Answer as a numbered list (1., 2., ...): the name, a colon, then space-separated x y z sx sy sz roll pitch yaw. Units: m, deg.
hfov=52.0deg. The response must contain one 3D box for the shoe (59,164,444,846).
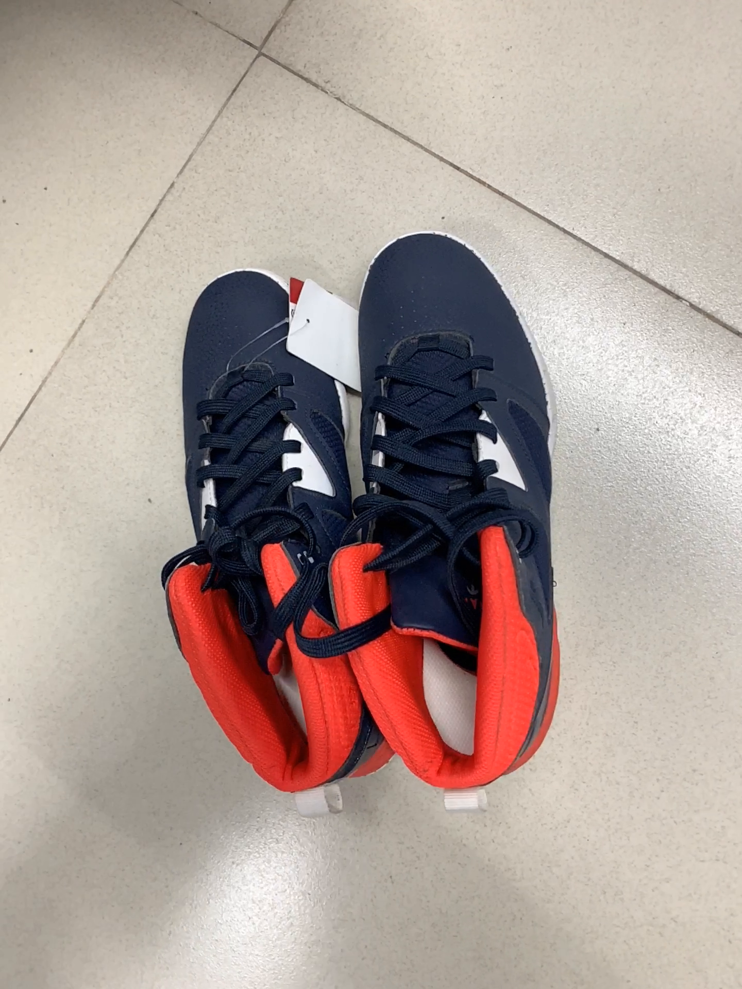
1. shoe: -0.058 0.006 0.391 0.110 0.100 0.290 -15 82 14

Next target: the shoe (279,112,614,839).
1. shoe: 0.041 -0.004 0.372 0.110 0.120 0.290 -7 84 15
